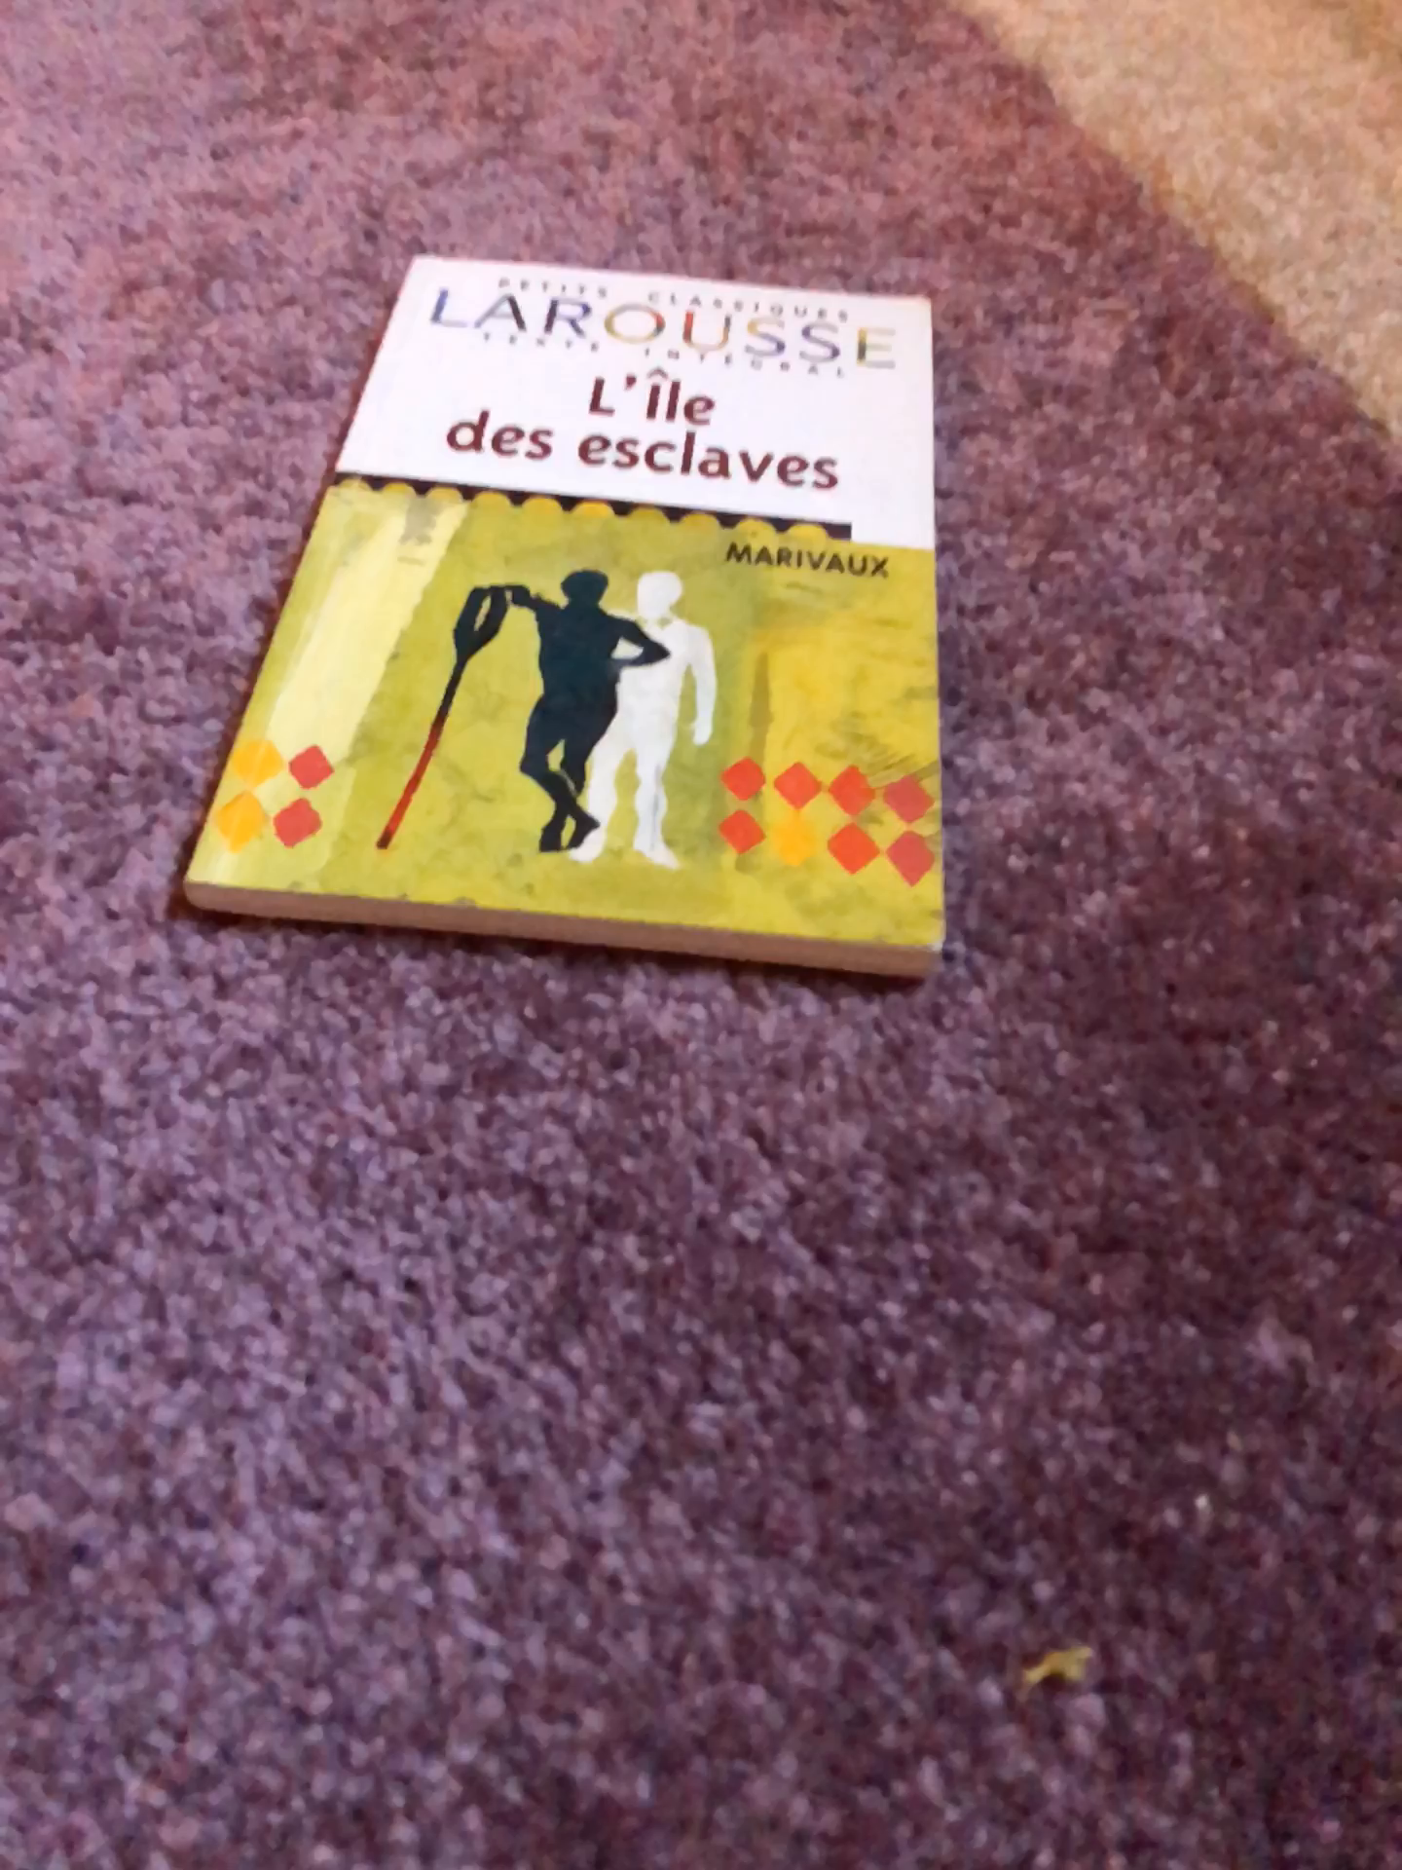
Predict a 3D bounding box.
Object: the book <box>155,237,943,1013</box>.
[{"bbox_3d":[-0.015,-0.066,0.273,0.110,0.020,0.167,6,52,0],"label":"book"}]
